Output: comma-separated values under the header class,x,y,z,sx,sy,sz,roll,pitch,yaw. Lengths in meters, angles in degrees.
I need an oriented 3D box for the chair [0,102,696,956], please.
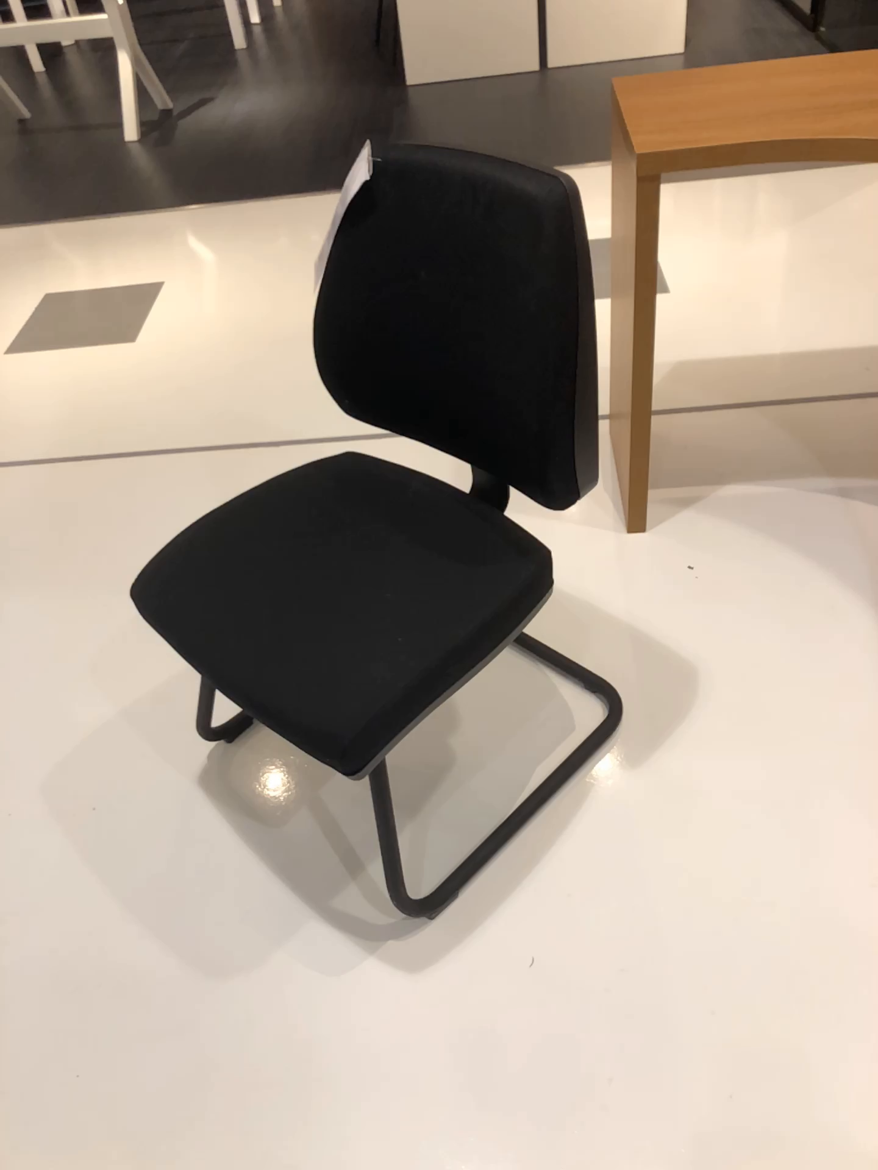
class,x,y,z,sx,sy,sz,roll,pitch,yaw
chair,-0.070,-0.079,1.324,0.552,0.873,0.562,29,54,34
